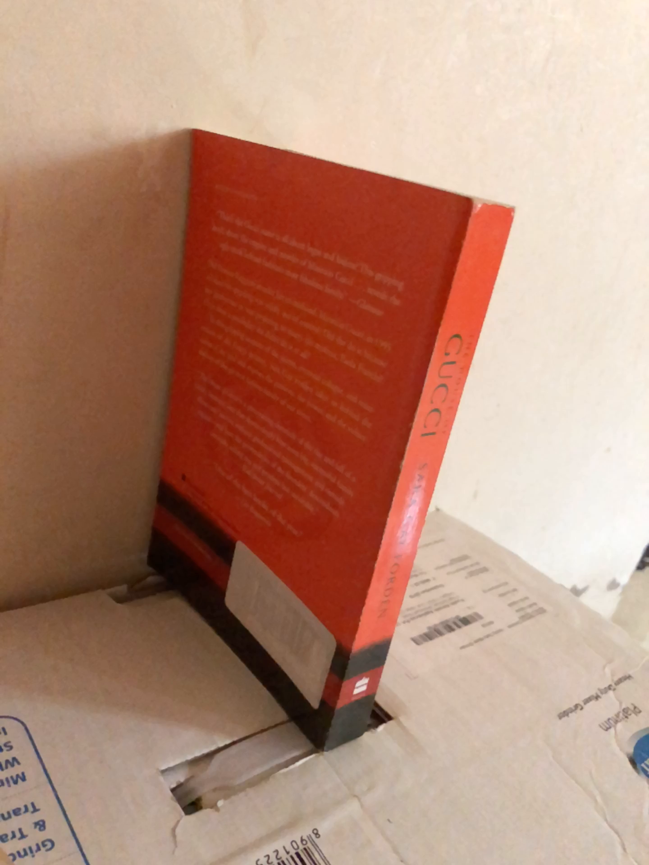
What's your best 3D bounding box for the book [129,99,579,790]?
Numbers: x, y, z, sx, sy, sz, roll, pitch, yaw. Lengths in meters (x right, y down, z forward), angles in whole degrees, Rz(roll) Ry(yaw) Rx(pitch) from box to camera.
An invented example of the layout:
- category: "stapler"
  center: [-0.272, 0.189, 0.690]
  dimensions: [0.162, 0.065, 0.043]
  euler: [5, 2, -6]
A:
- category: "book"
  center: [-0.018, -0.007, 0.317]
  dimensions: [0.040, 0.229, 0.190]
  euler: [-3, 28, -36]
